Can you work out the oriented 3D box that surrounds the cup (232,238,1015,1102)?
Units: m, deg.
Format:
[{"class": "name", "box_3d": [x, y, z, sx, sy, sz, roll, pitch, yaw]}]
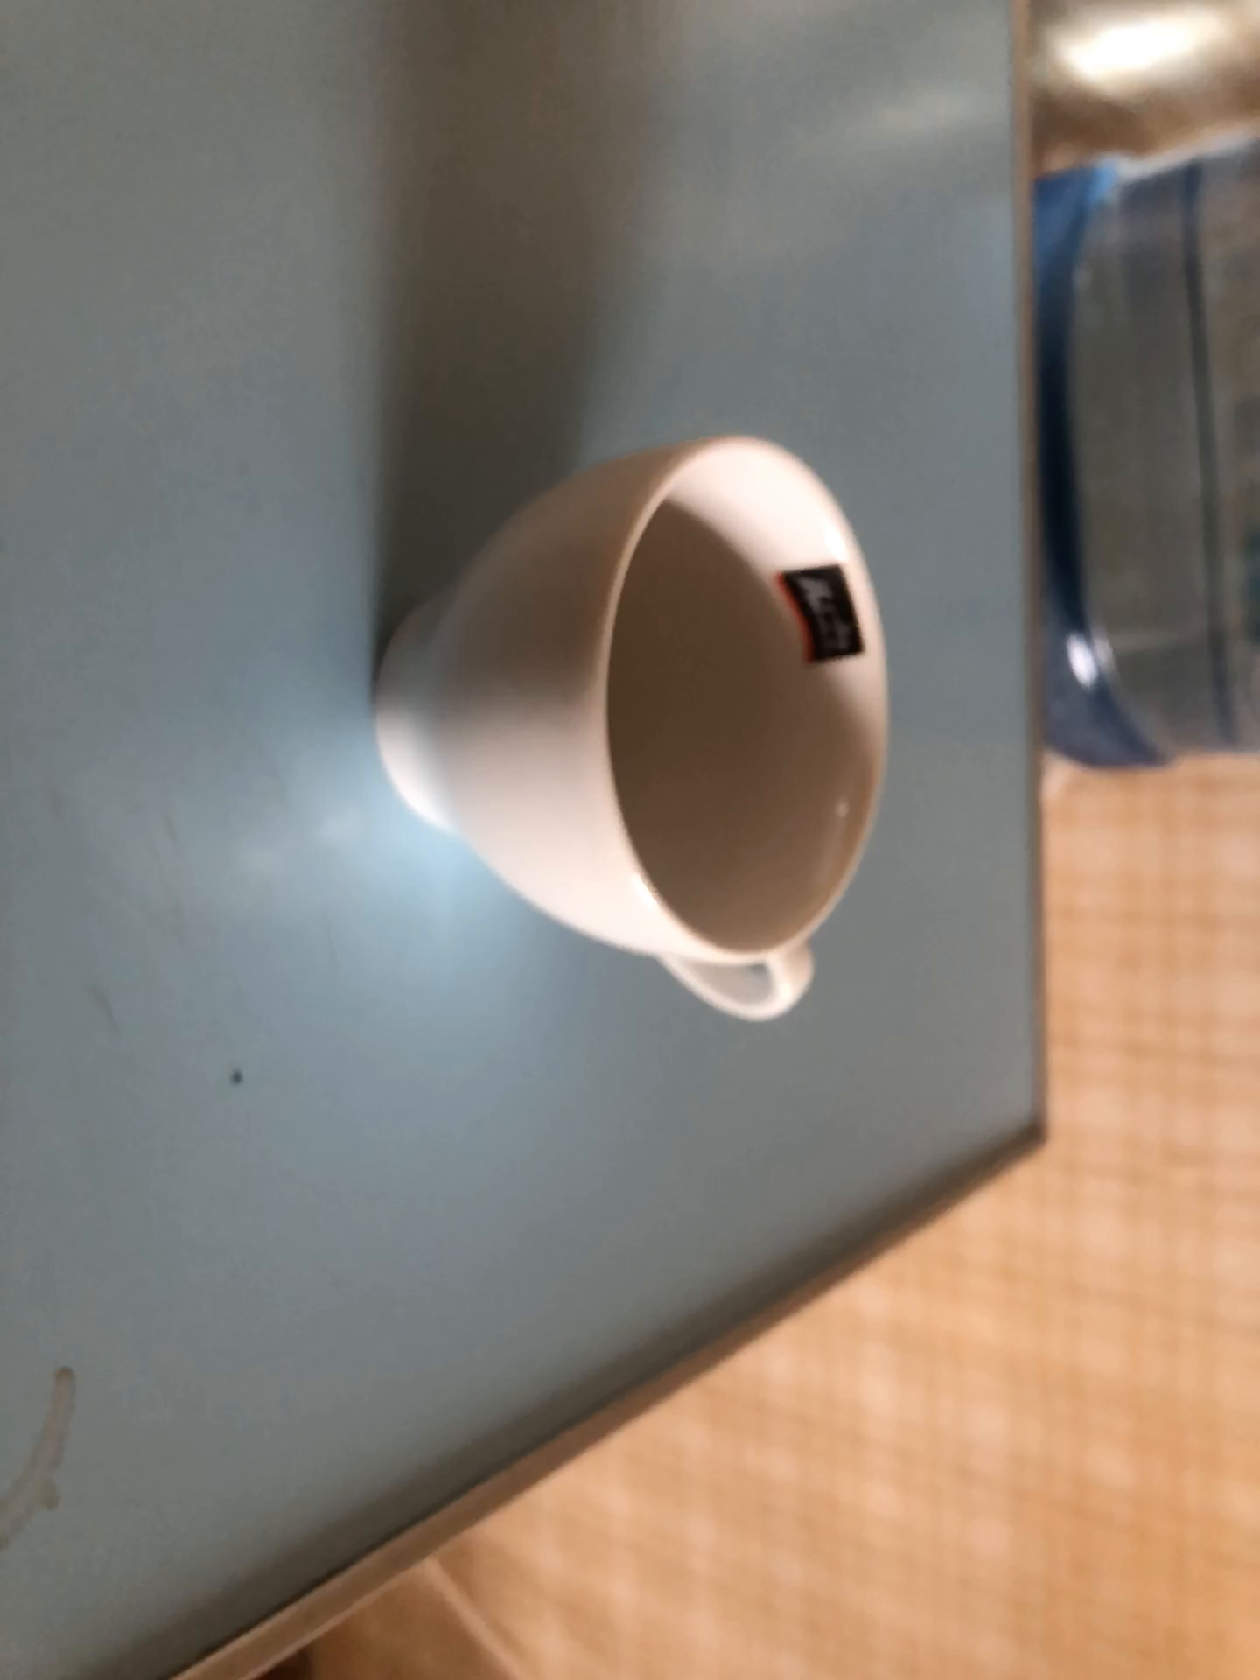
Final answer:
[{"class": "cup", "box_3d": [0.008, -0.026, 0.255, 0.111, 0.065, 0.089, 56, 50, -35]}]
